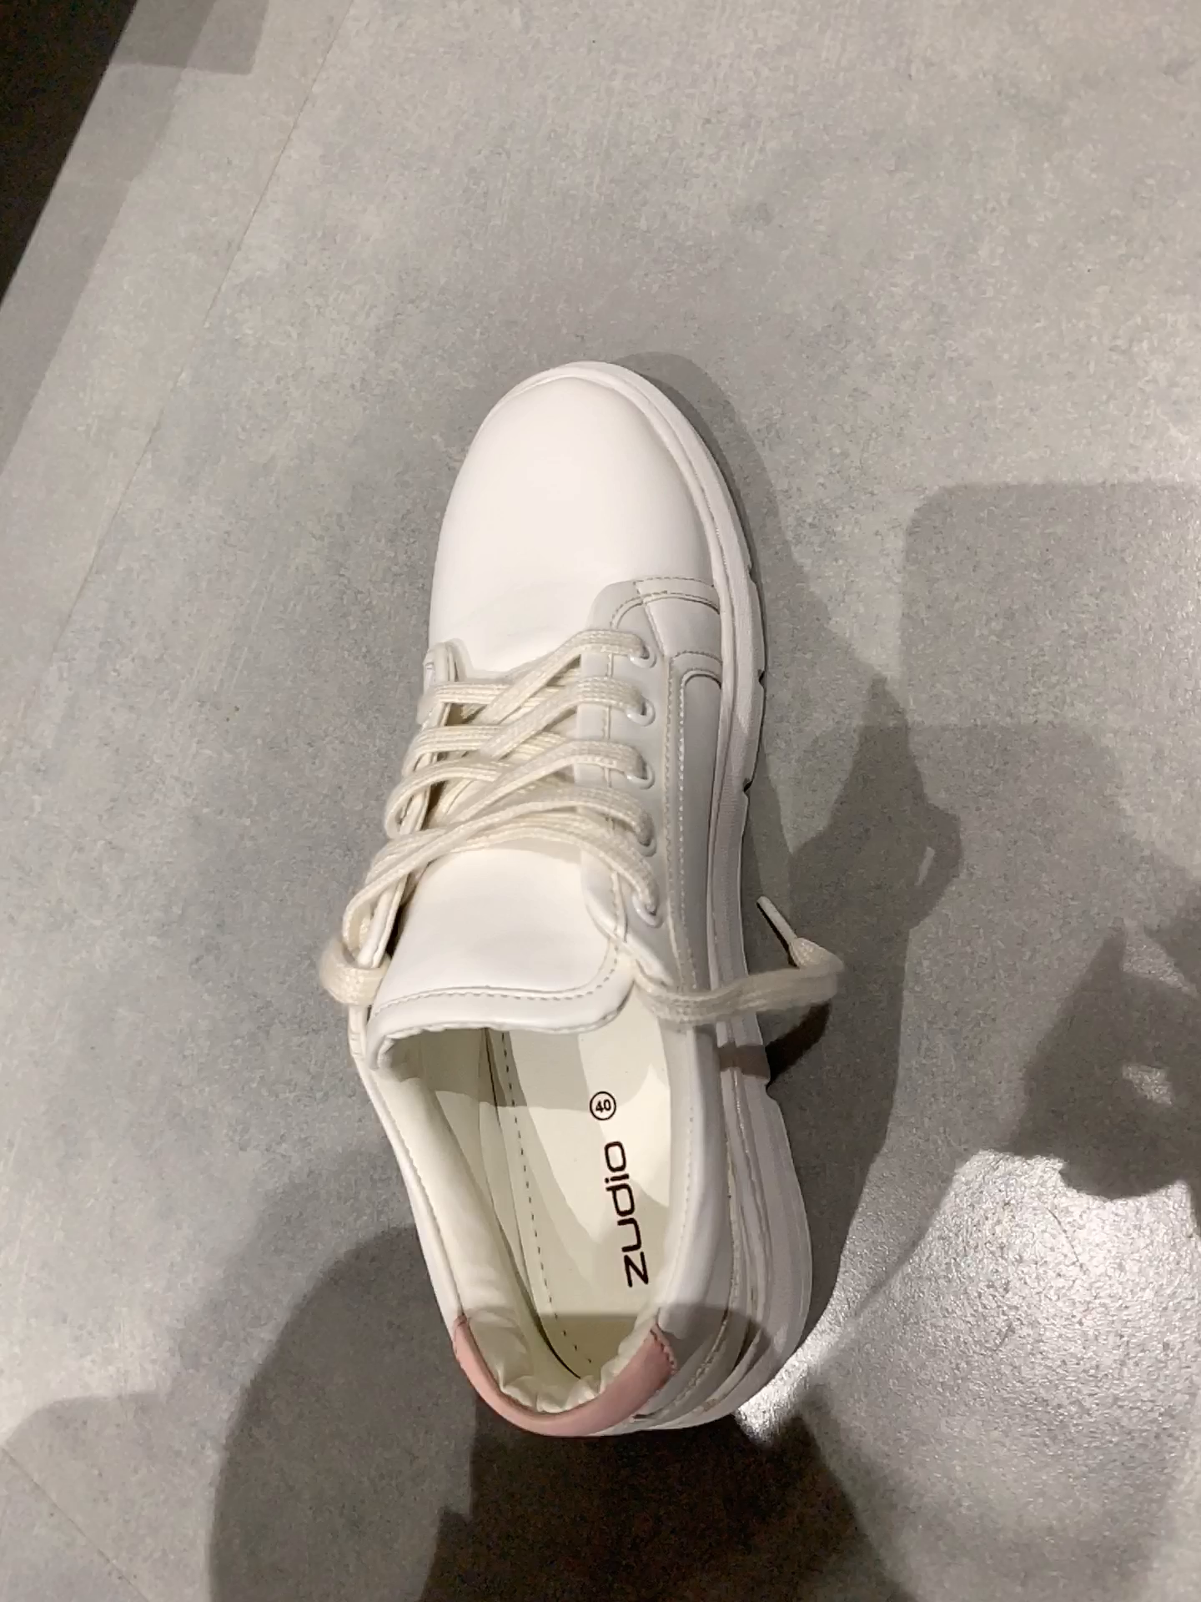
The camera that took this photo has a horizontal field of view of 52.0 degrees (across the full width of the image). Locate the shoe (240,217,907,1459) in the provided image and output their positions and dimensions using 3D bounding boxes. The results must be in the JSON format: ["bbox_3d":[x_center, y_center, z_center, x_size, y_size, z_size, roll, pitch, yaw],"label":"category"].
[{"bbox_3d":[-0.007,0.012,0.308,0.110,0.100,0.250,-11,77,21],"label":"shoe"}]
